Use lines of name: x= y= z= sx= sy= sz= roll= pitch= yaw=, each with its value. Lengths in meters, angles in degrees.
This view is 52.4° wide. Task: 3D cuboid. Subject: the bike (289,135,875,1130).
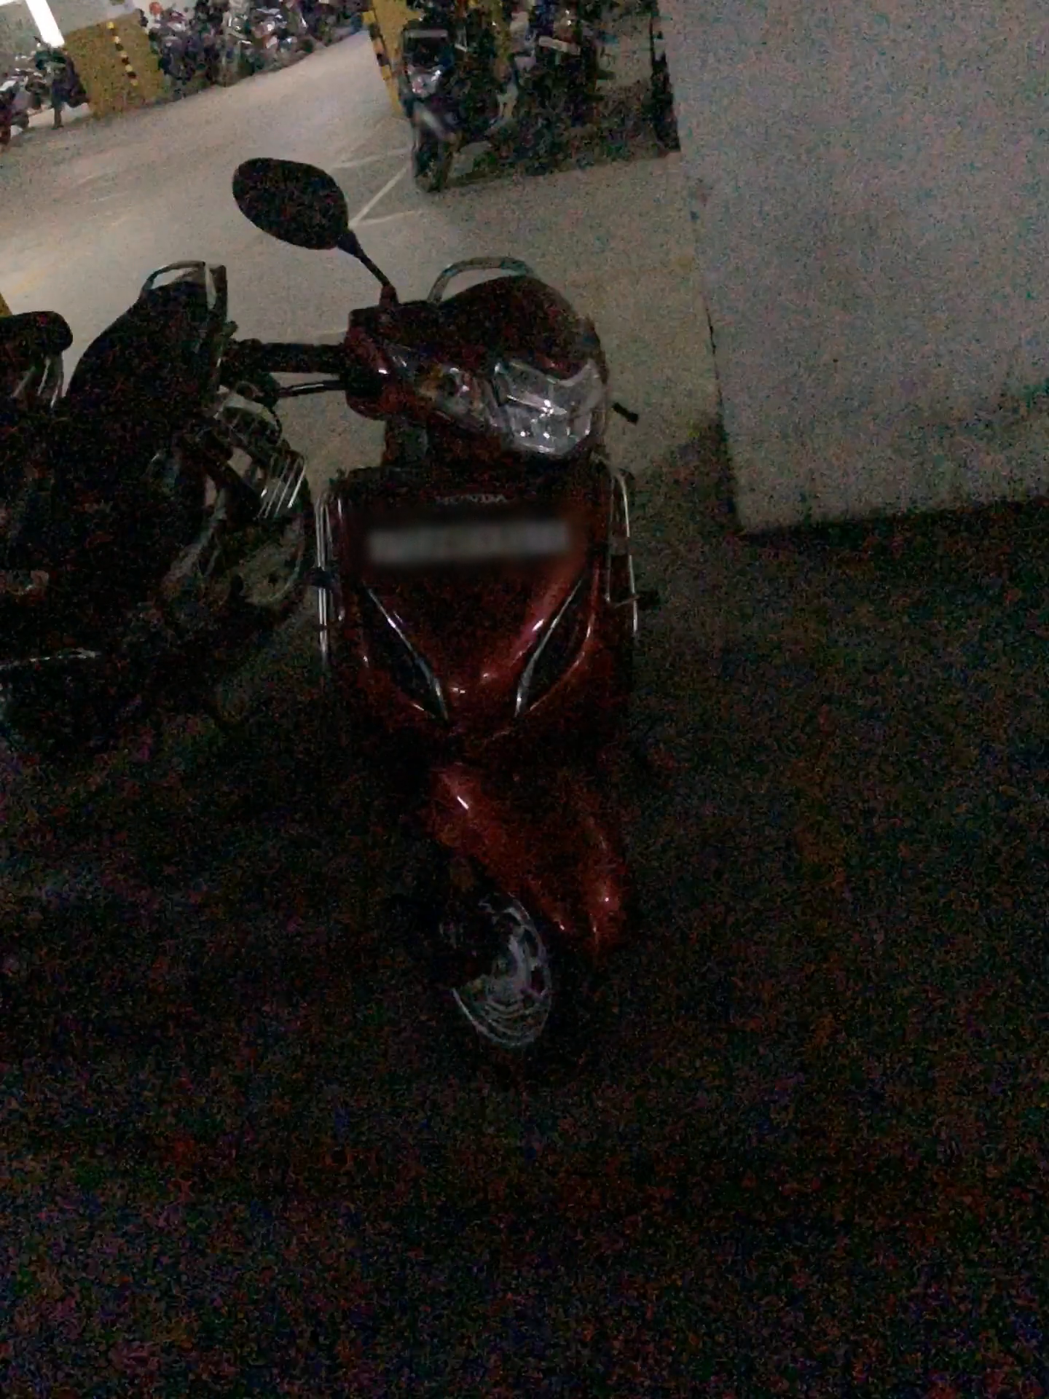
bike: x=0.047 y=-0.205 z=1.935 sx=0.487 sy=0.909 sz=1.397 roll=-18 pitch=45 yaw=0
